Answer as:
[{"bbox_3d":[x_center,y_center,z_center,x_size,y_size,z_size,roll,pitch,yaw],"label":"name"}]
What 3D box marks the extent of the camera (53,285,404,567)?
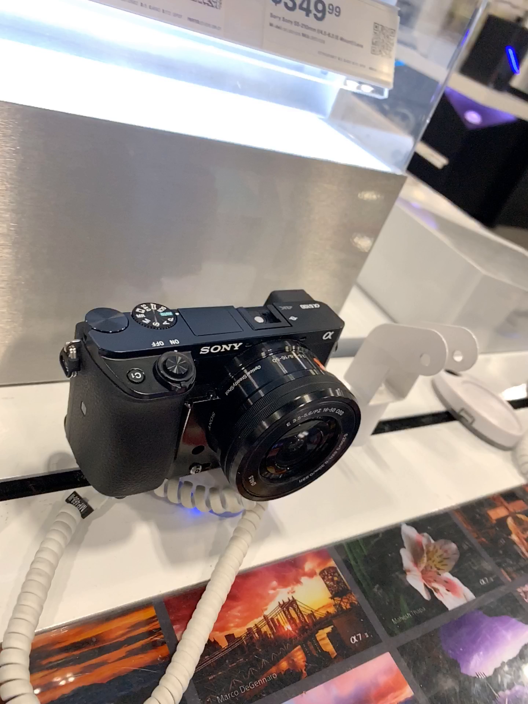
[{"bbox_3d":[-0.016,0.023,0.242,0.121,0.070,0.070,-10,46,-39],"label":"camera"}]
